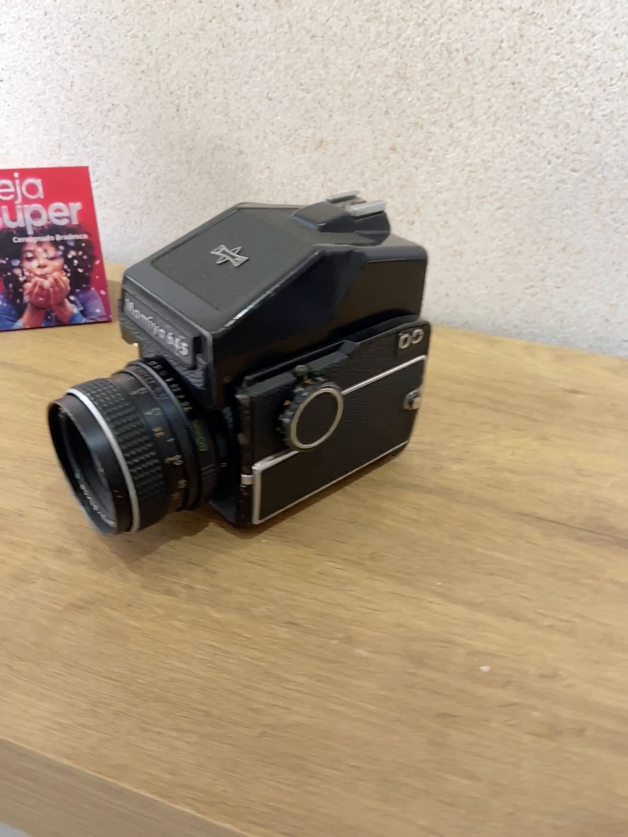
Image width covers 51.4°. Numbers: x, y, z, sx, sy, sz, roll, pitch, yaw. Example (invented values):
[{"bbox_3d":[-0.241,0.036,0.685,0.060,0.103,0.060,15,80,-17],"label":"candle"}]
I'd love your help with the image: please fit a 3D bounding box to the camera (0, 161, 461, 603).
[{"bbox_3d":[-0.045,-0.034,0.293,0.161,0.109,0.130,-24,42,-32],"label":"camera"}]
